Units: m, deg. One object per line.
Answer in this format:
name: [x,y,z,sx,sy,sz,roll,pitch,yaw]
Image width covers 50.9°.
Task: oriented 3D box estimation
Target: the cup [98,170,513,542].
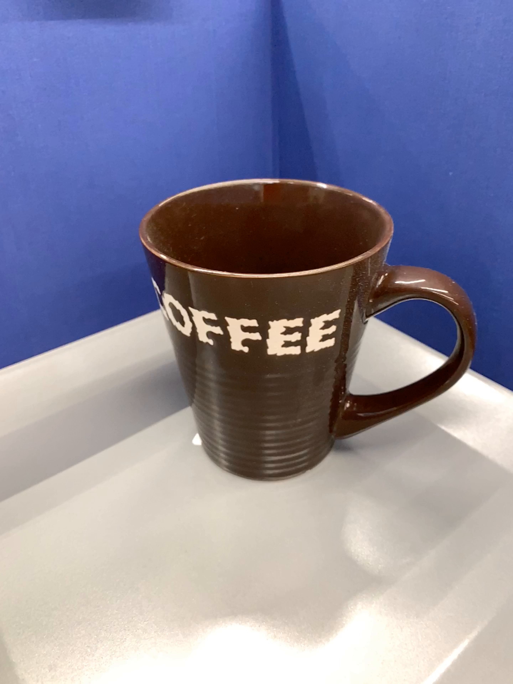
cup: [0.025,-0.003,0.219,0.128,0.098,0.089,9,35,16]
